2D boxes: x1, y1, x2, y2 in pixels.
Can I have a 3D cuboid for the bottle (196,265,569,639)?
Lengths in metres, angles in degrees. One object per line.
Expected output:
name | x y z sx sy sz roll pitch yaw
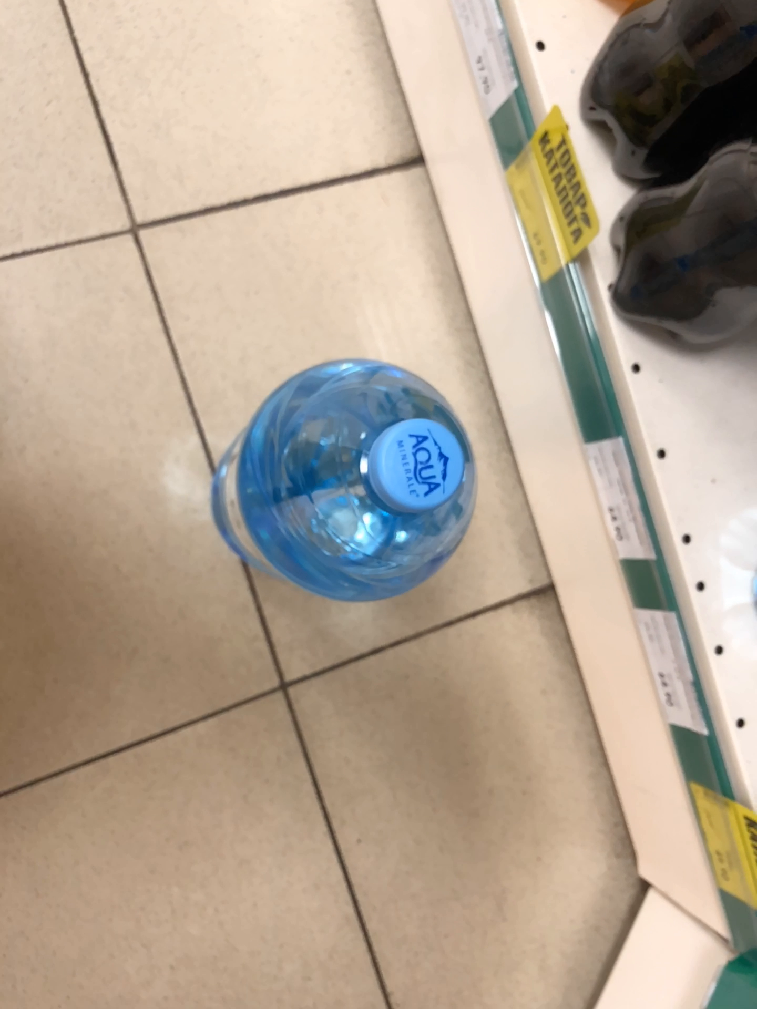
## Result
bottle | -0.030 -0.014 0.417 0.088 0.324 0.105 -9 90 -15
